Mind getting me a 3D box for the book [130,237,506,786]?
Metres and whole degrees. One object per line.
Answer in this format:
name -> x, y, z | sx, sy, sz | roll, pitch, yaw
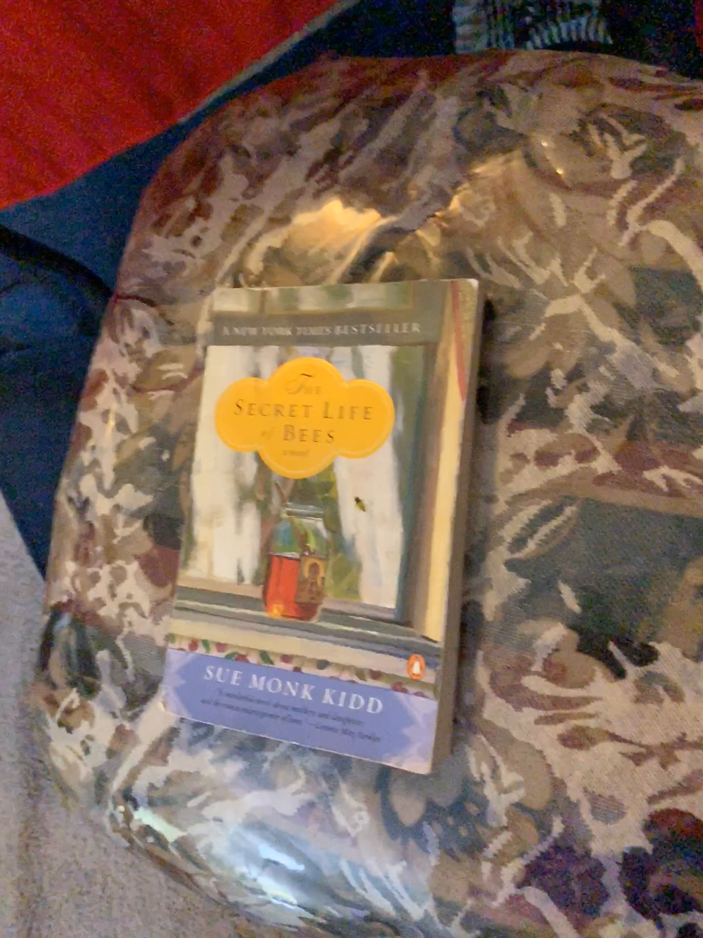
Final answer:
book -> -0.014, 0.011, 0.324 | 0.140, 0.040, 0.210 | 3, 80, 27
